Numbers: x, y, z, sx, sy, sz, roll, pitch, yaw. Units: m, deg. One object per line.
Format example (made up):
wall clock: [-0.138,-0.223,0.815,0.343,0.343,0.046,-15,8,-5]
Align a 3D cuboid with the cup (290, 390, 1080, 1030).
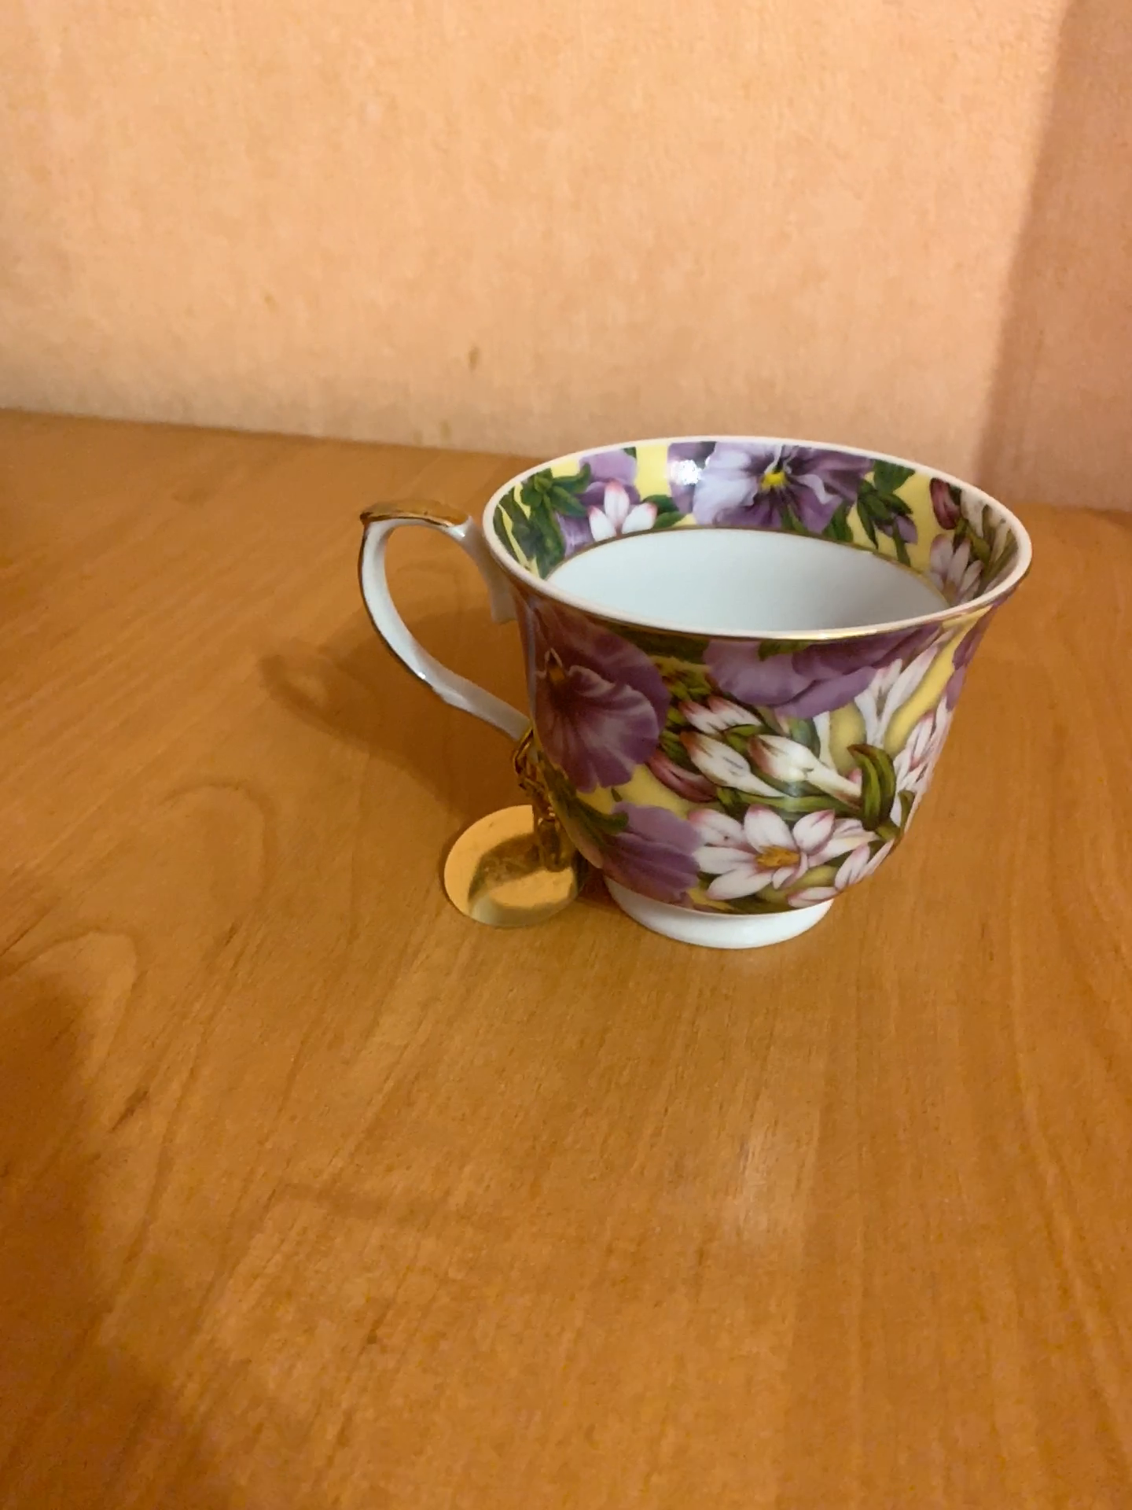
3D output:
cup: [0.023,-0.016,0.208,0.109,0.069,0.077,10,32,15]
